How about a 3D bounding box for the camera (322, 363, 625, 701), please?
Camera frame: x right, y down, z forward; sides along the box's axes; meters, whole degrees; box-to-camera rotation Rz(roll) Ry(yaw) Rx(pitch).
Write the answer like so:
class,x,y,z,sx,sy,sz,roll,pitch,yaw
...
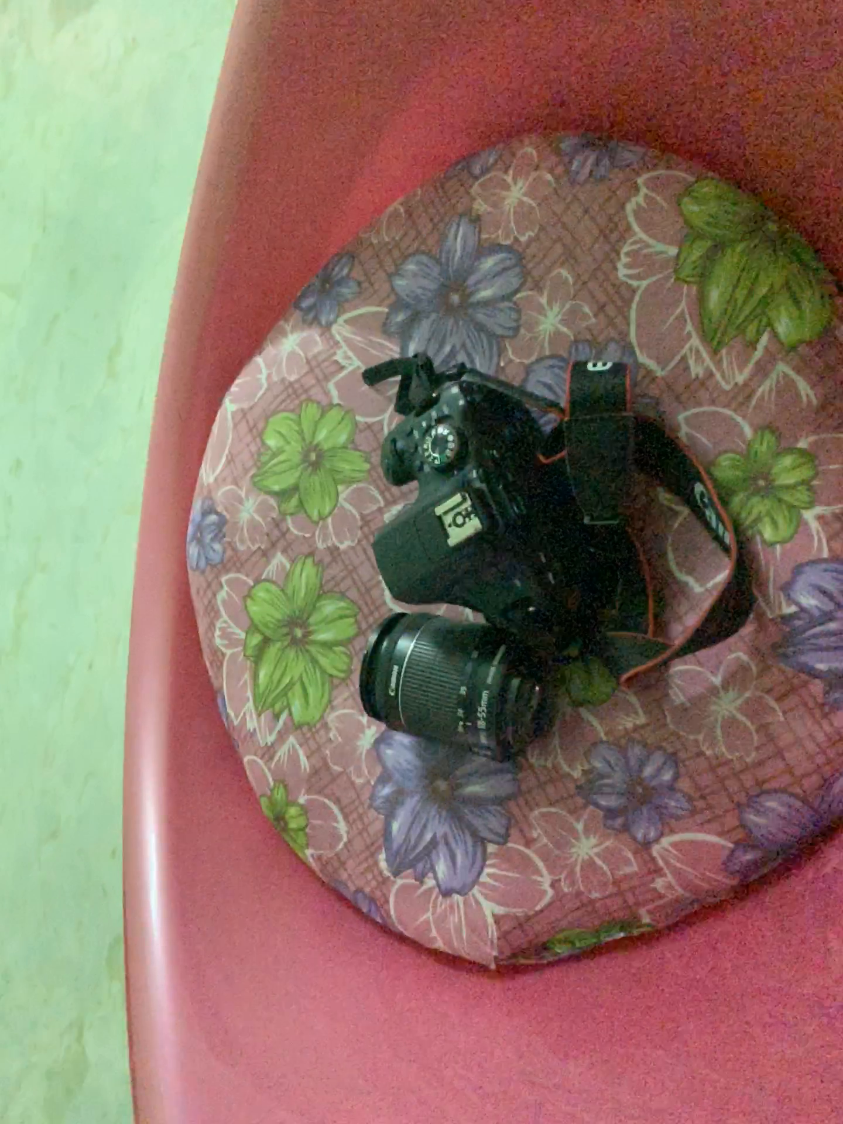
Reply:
class,x,y,z,sx,sy,sz,roll,pitch,yaw
camera,0.024,-0.012,0.454,0.086,0.078,0.143,-33,67,31
